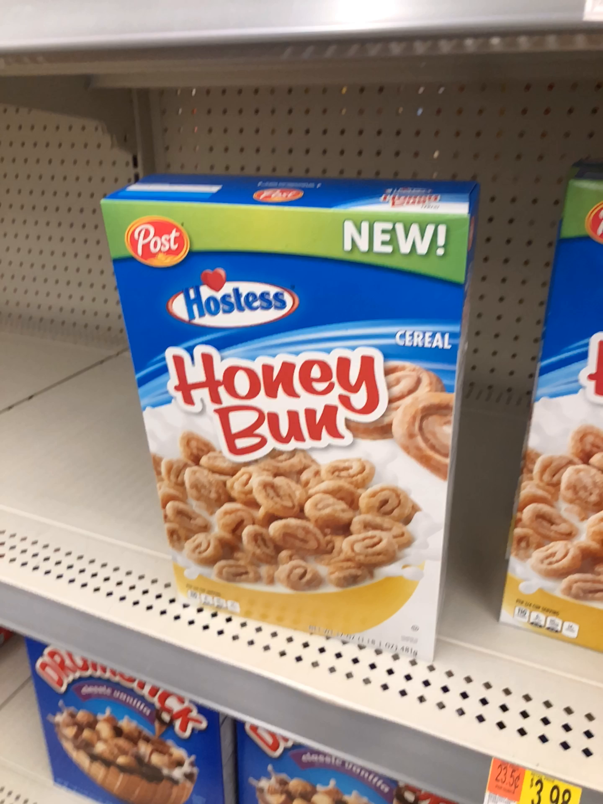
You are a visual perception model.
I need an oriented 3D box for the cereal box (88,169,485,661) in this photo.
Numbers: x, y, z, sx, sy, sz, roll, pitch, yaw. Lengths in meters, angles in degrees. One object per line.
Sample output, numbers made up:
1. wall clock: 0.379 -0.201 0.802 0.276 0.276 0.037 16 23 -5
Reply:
1. cereal box: -0.001 0.014 0.431 0.200 0.299 0.070 7 32 18
